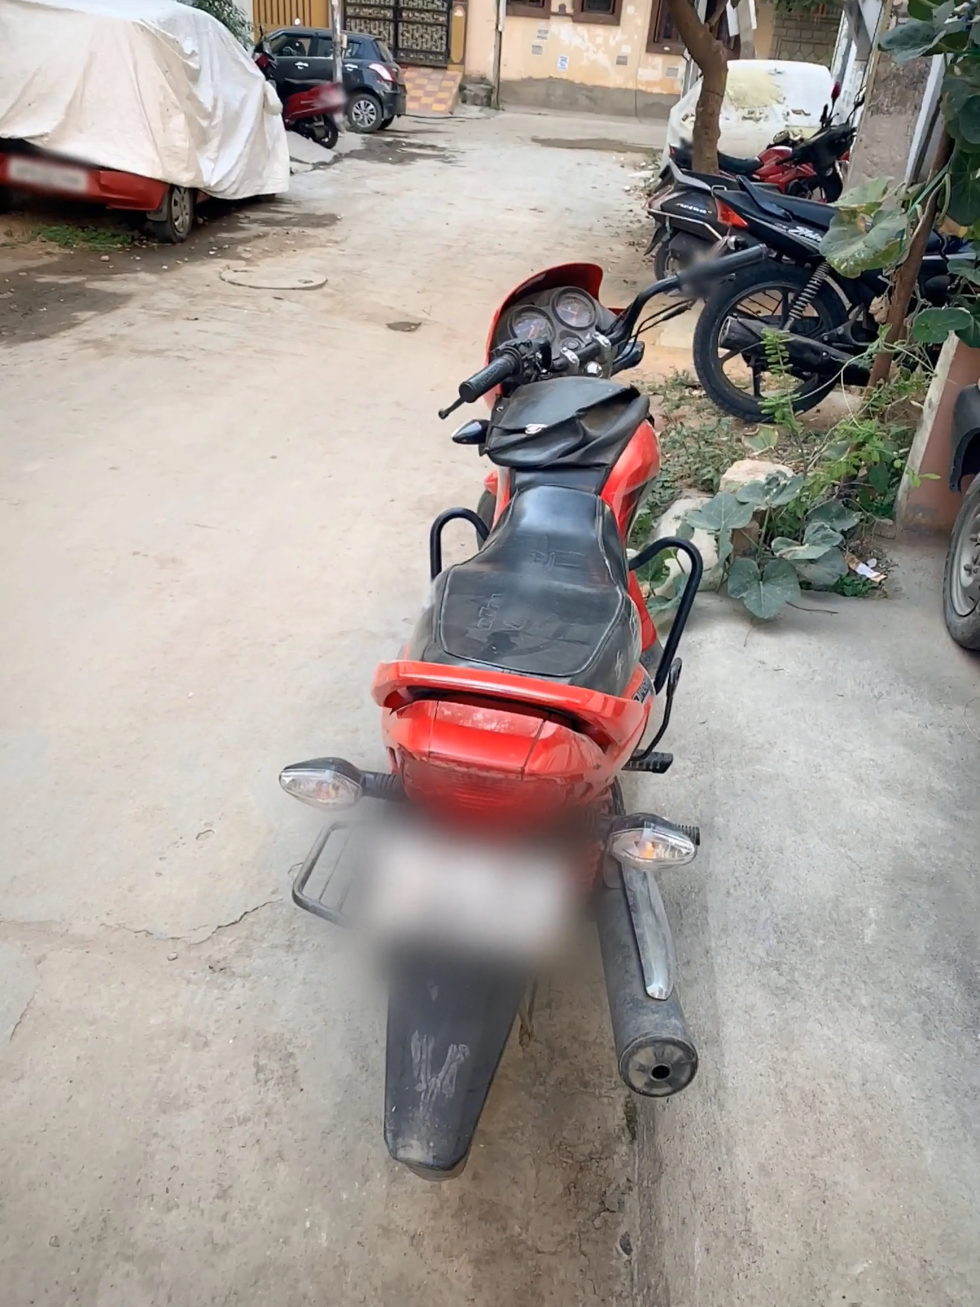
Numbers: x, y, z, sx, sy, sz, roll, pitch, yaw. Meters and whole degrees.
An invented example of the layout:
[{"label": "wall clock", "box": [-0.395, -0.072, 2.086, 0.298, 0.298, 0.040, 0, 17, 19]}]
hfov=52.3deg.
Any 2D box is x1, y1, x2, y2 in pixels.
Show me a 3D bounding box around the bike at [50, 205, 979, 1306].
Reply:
[{"label": "bike", "box": [0.017, -0.061, 1.775, 0.758, 1.092, 1.716, 5, 31, 0]}]
